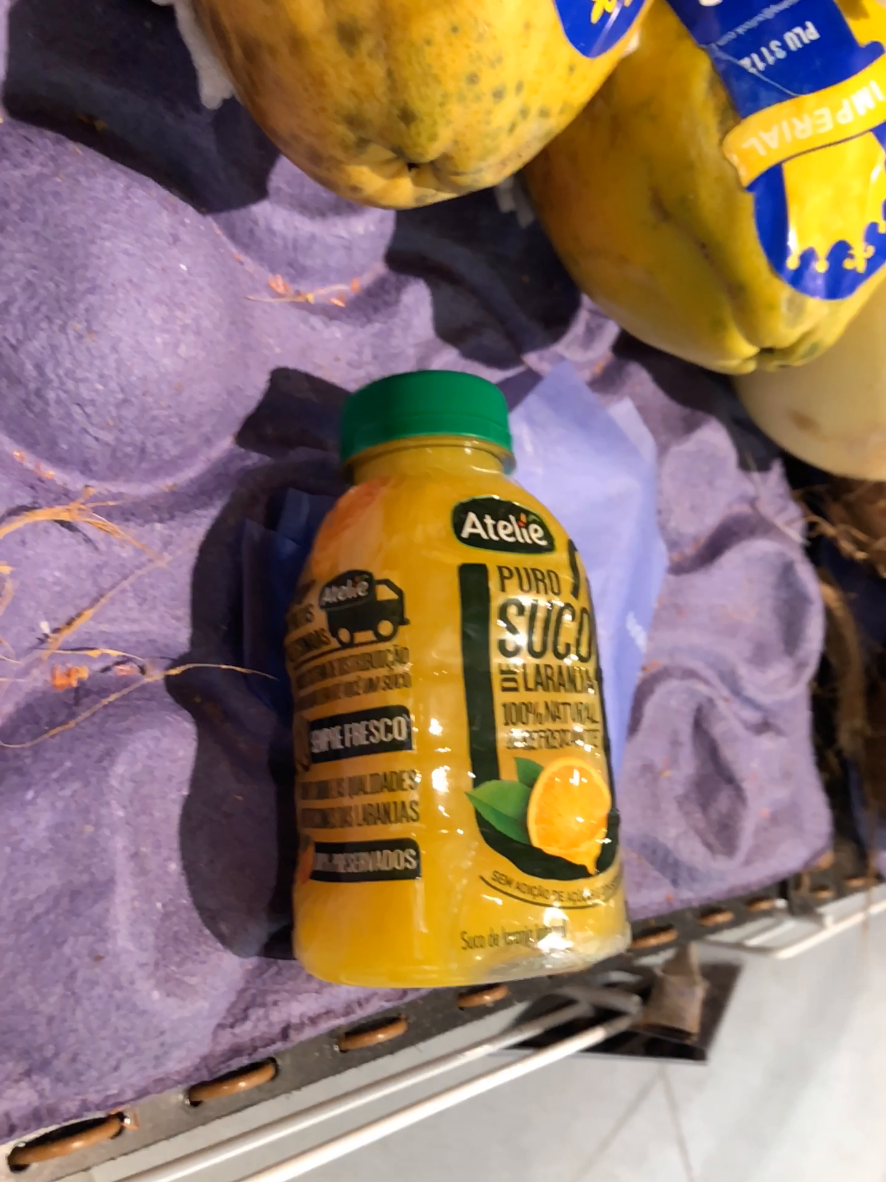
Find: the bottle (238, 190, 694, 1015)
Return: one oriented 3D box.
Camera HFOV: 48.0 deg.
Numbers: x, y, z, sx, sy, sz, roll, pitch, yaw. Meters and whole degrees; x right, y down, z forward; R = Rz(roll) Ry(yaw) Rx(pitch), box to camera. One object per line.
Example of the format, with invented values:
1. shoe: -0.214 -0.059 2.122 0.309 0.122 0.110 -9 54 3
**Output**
1. bottle: 0.004 0.003 0.214 0.070 0.060 0.140 3 82 -45
